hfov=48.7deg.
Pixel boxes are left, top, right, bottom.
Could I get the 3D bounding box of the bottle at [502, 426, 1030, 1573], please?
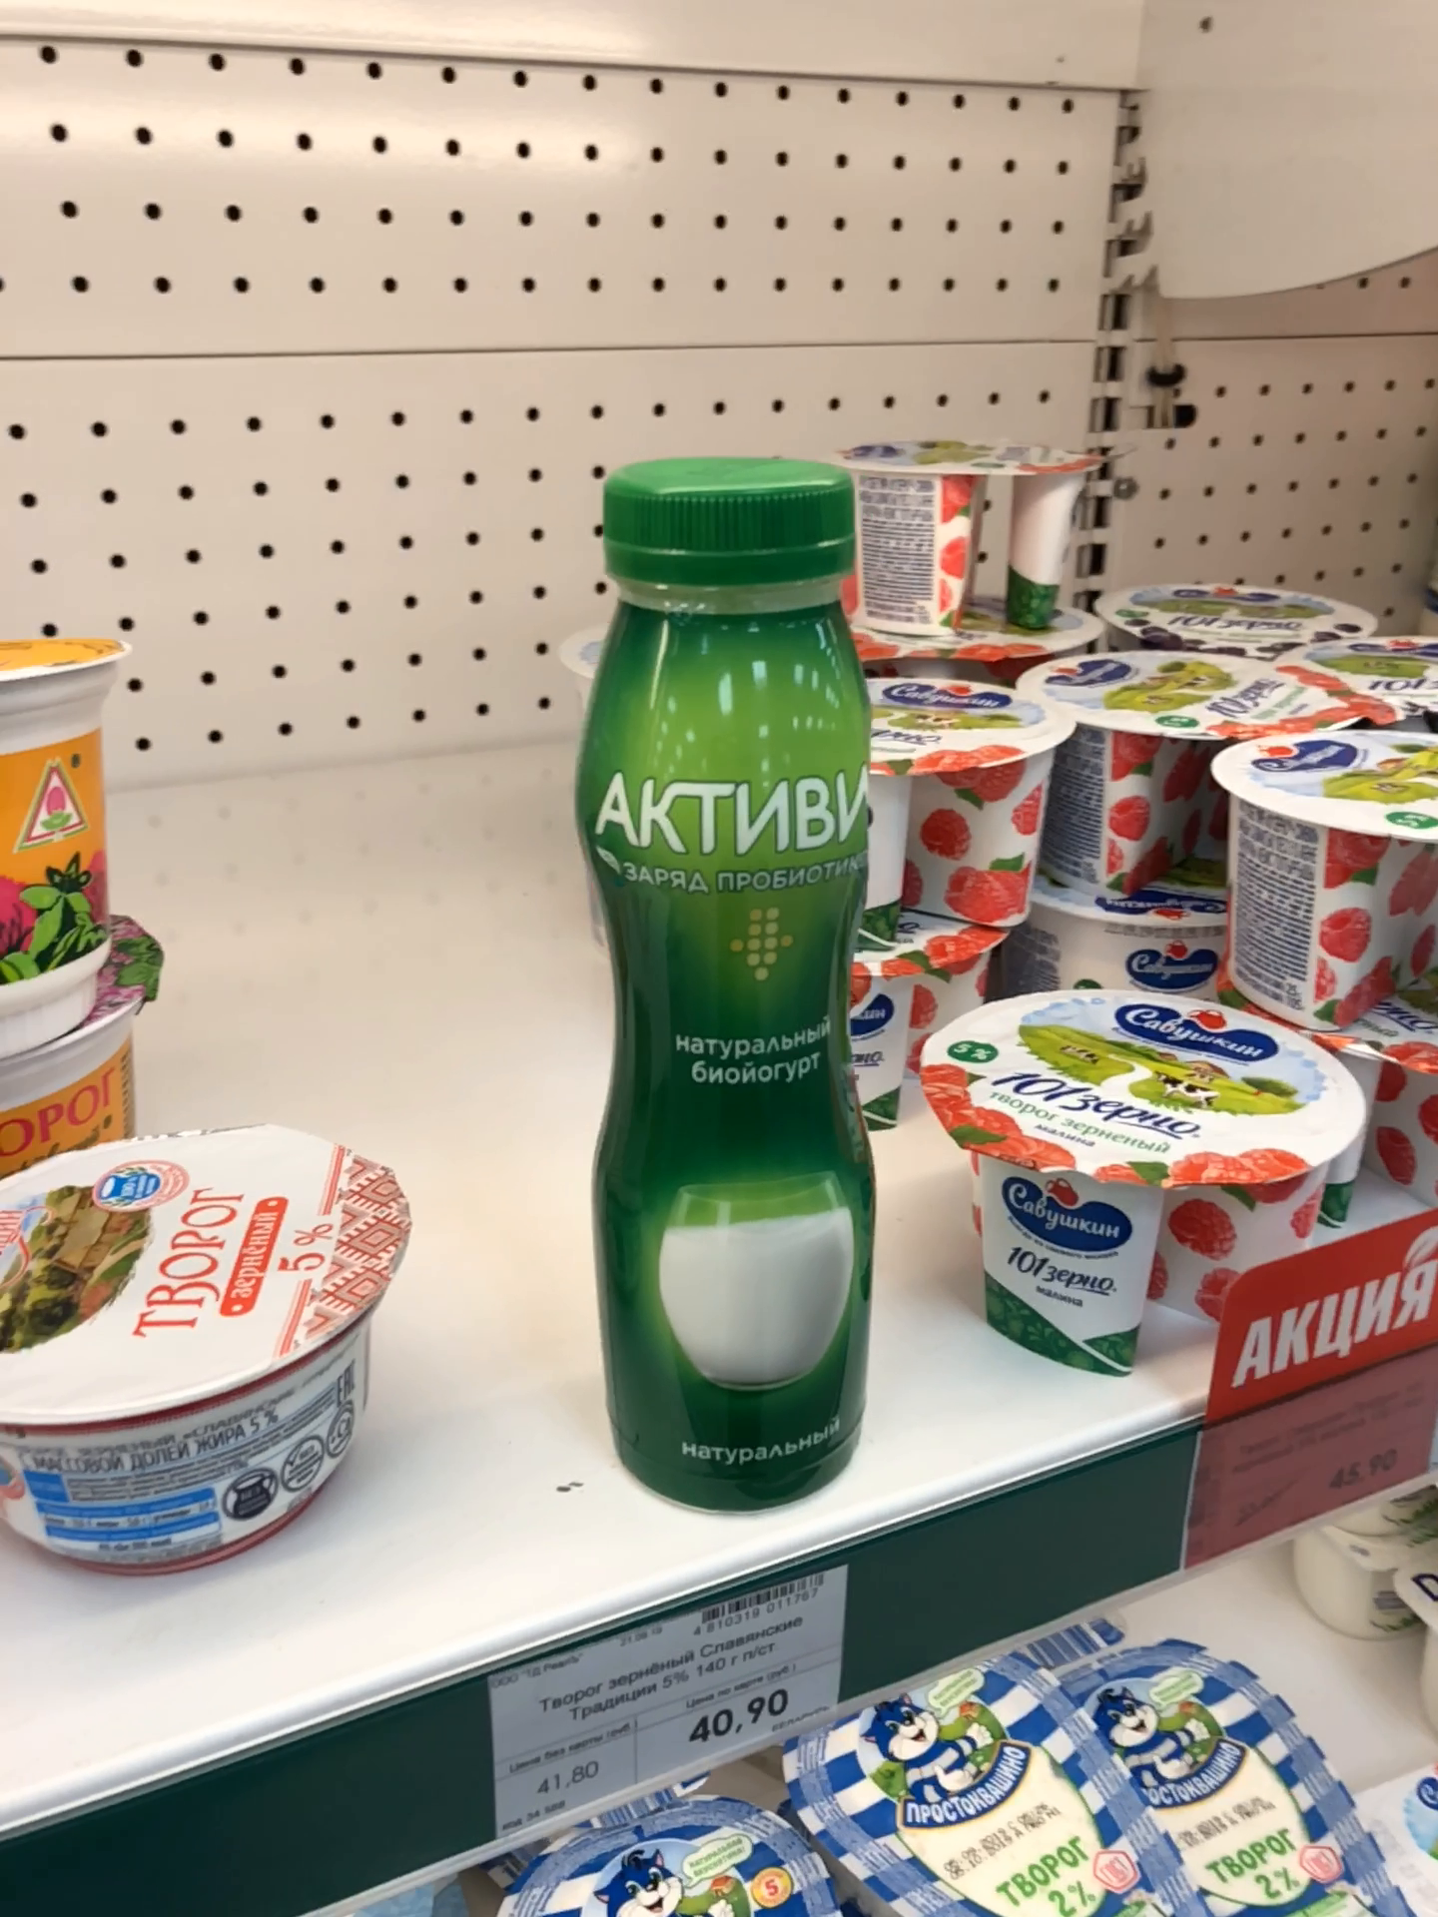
[{"bbox_3d":[0.003,0.009,0.280,0.070,0.189,0.060,-4,23,-10],"label":"bottle"}]
